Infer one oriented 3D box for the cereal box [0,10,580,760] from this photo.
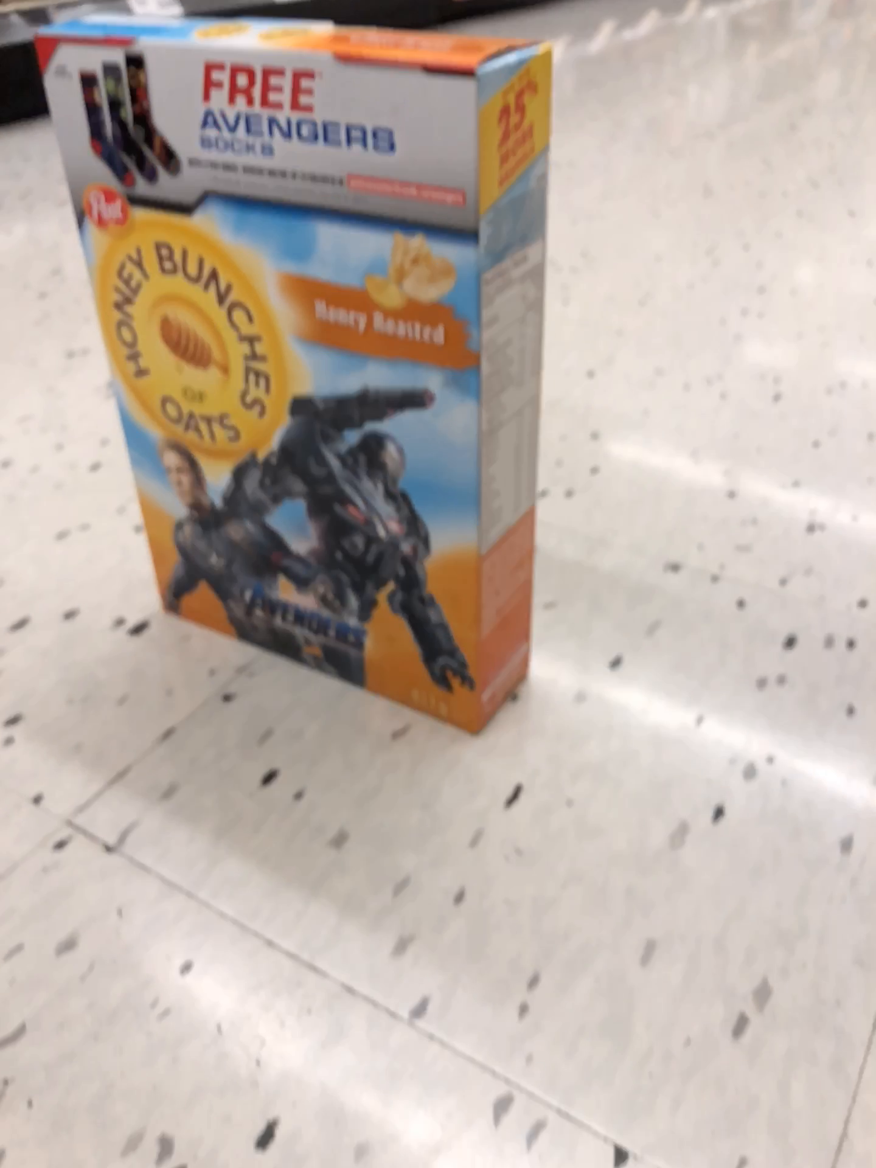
[{"bbox_3d":[-0.061,-0.077,0.399,0.210,0.258,0.060,18,40,24],"label":"cereal box"}]
